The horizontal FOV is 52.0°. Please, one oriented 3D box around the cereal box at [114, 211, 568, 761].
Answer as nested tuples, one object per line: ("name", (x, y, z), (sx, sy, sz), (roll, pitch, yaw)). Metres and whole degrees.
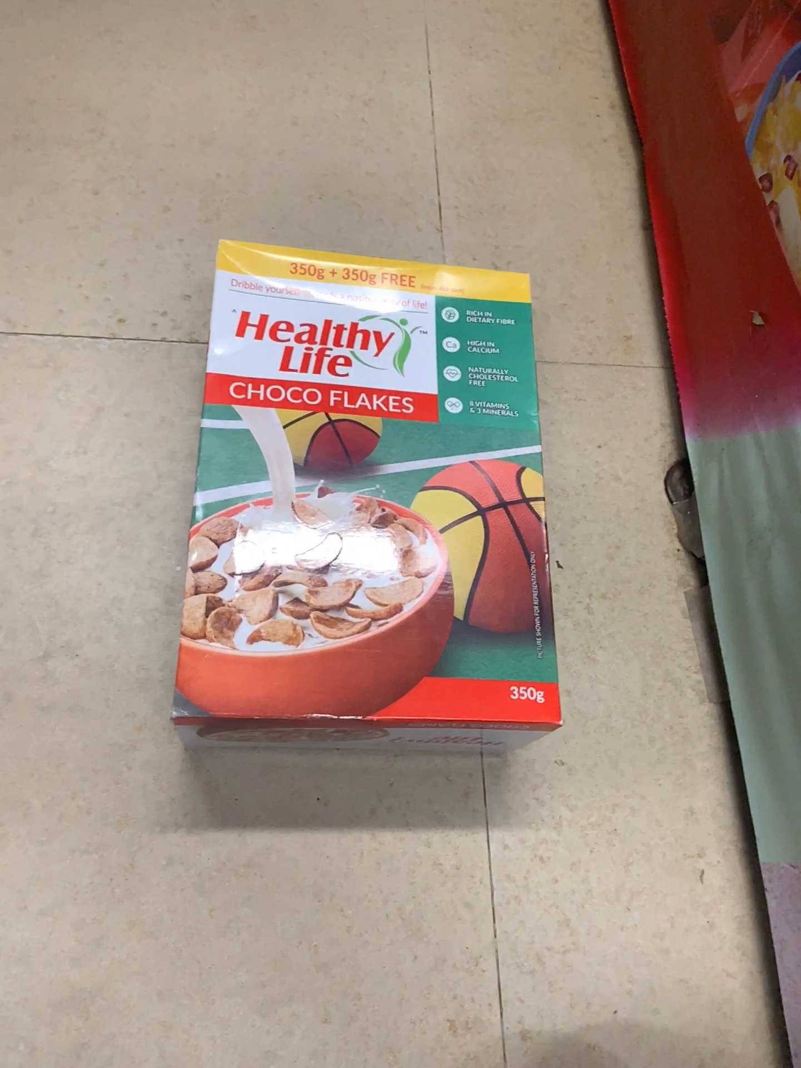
("cereal box", (-0.032, -0.023, 0.465), (0.200, 0.110, 0.280), (3, 67, -9))
